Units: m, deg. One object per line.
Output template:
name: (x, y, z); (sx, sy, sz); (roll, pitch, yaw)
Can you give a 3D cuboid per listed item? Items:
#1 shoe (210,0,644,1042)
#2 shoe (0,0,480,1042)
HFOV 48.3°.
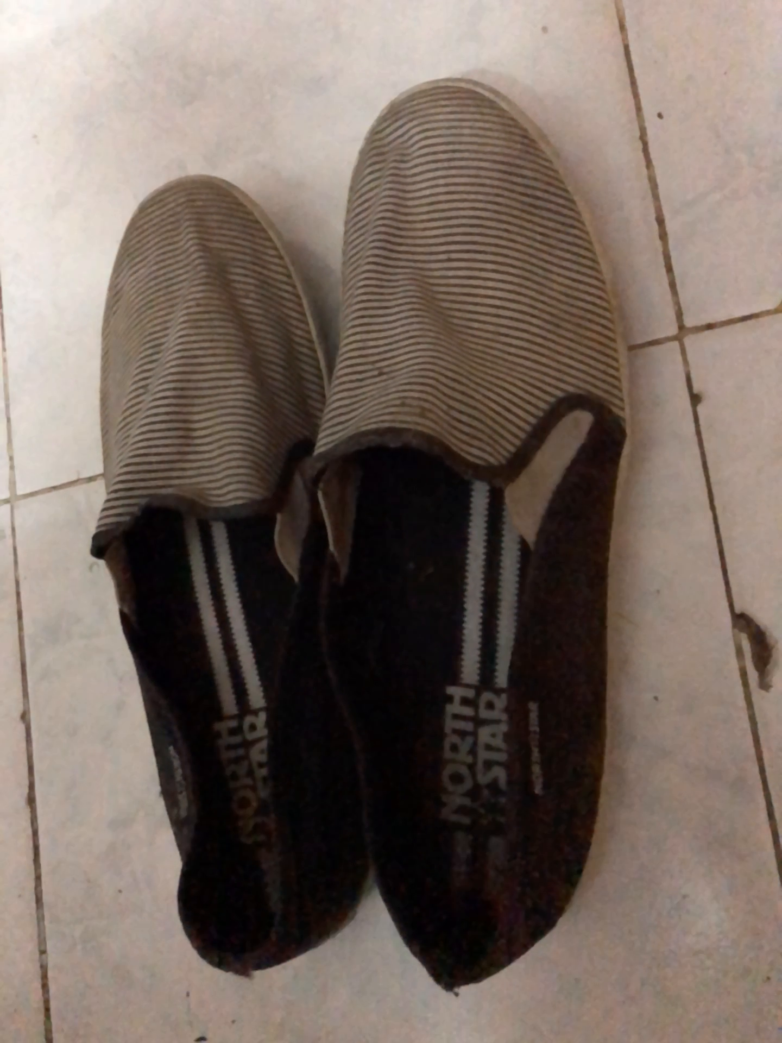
shoe: (0.012, -0.013, 0.291); (0.110, 0.090, 0.340); (-4, 82, 21)
shoe: (-0.062, -0.003, 0.327); (0.110, 0.090, 0.330); (-13, 79, 20)
